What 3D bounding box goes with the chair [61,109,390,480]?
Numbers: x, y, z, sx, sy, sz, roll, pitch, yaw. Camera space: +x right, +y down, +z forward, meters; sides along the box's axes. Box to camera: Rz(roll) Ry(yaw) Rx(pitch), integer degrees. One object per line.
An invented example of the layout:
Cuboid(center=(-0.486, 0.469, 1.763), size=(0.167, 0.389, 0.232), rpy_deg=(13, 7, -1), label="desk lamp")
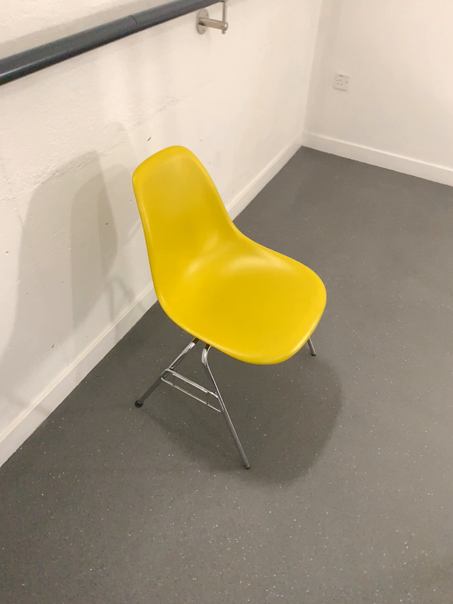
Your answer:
Cuboid(center=(0.021, -0.040, 1.372), size=(0.562, 0.733, 0.624), rpy_deg=(23, 47, 20), label="chair")
